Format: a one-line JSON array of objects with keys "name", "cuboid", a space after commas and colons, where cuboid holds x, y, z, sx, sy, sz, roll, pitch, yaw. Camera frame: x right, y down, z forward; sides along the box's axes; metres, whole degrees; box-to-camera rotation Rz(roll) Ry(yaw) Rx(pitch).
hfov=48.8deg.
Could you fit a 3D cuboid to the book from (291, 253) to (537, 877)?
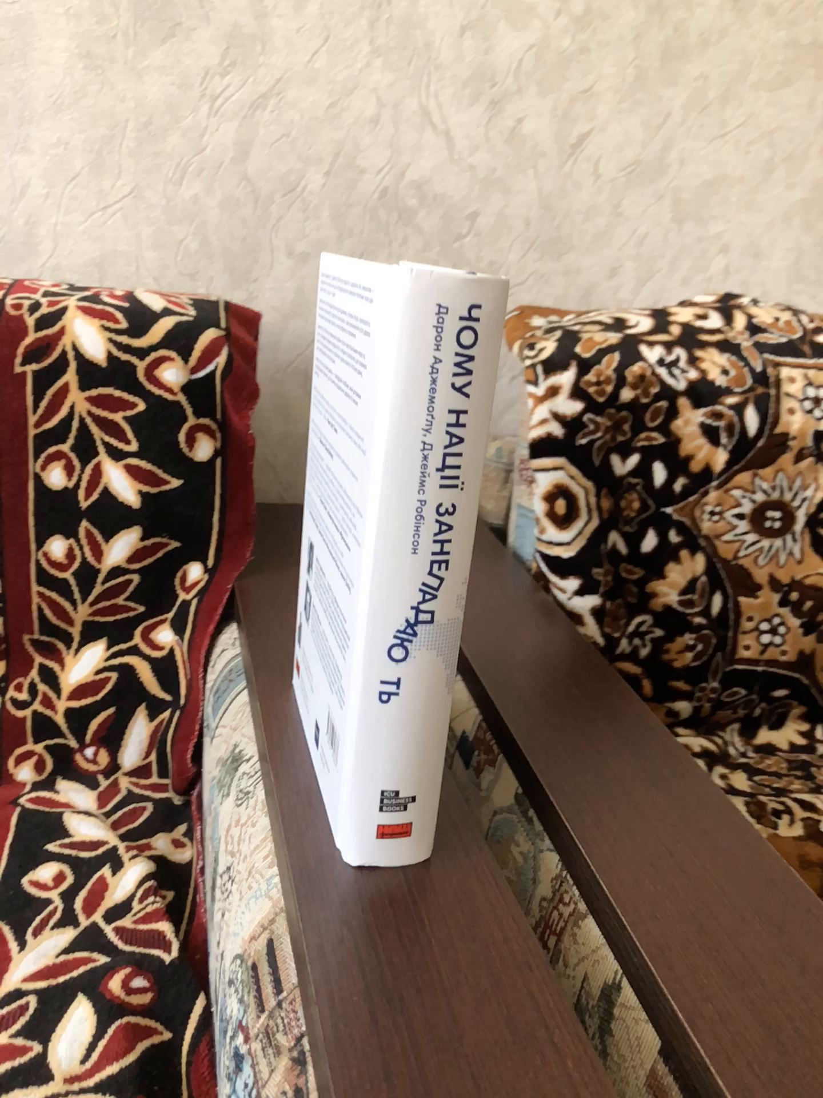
[{"name": "book", "cuboid": [-0.012, -0.006, 0.373, 0.042, 0.212, 0.151, 1, 18, -16]}]
